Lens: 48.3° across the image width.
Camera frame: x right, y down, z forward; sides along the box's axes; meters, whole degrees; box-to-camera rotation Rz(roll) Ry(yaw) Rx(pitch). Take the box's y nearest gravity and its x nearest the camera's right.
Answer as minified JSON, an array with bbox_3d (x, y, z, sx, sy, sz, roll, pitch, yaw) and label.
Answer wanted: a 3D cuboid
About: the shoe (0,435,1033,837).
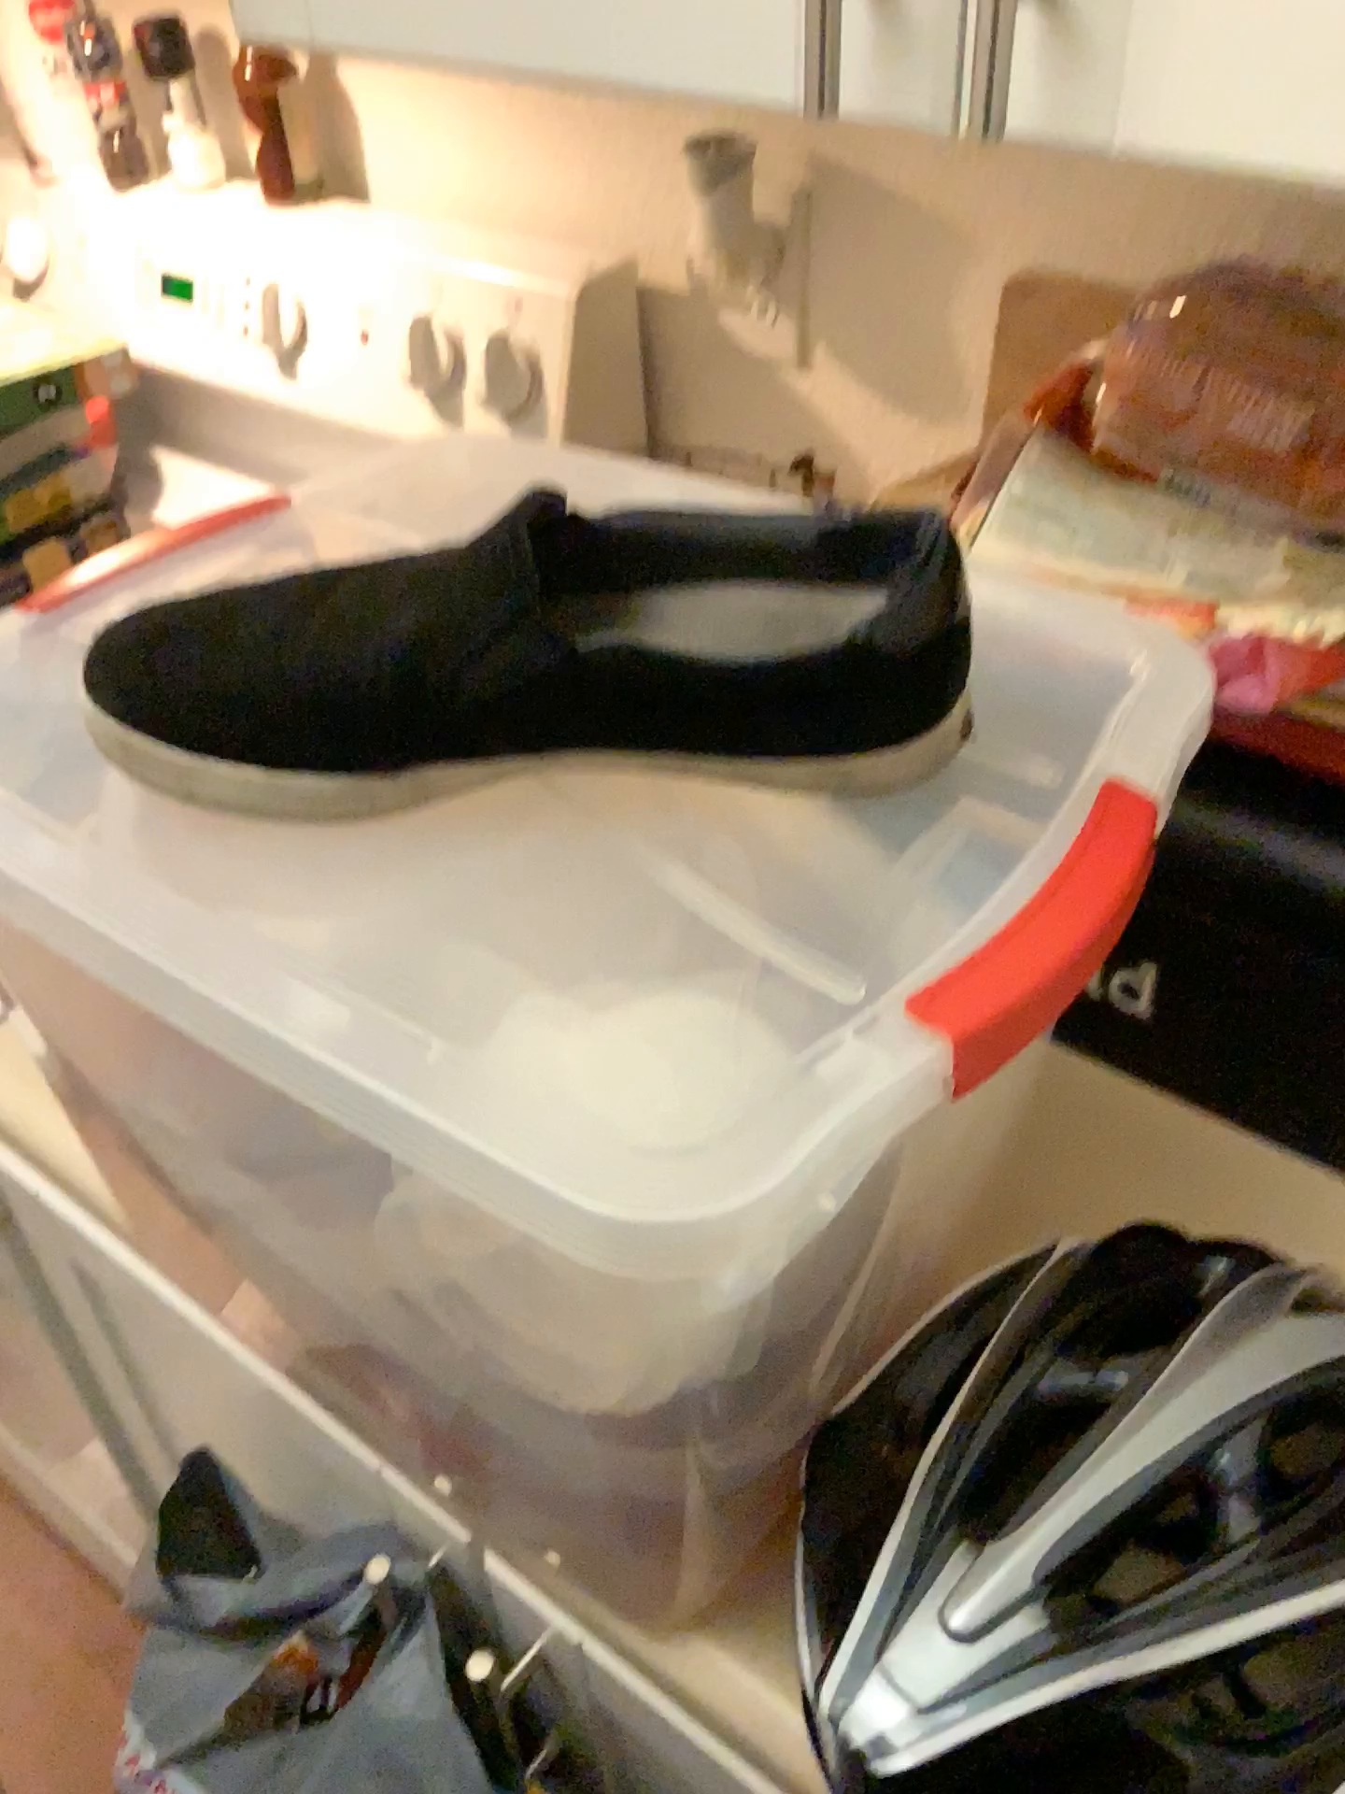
[{"bbox_3d":[-0.040,-0.080,0.450,0.270,0.070,0.100,-1,40,2],"label":"shoe"}]
